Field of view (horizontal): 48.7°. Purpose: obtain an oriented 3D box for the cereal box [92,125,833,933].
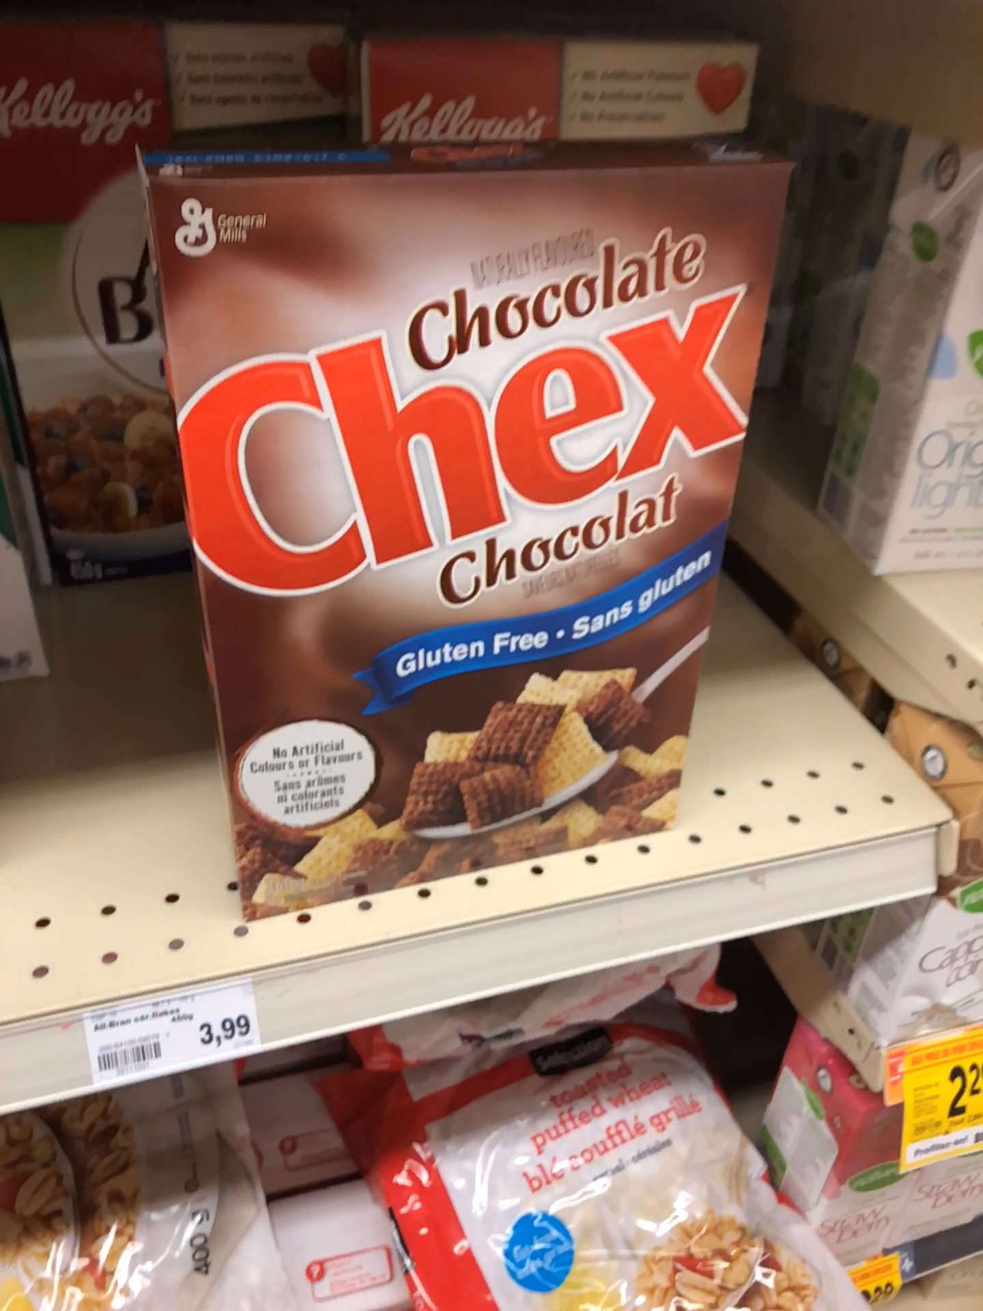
[{"bbox_3d":[-0.011,-0.035,0.395,0.210,0.278,0.050,-9,36,-16],"label":"cereal box"}]
